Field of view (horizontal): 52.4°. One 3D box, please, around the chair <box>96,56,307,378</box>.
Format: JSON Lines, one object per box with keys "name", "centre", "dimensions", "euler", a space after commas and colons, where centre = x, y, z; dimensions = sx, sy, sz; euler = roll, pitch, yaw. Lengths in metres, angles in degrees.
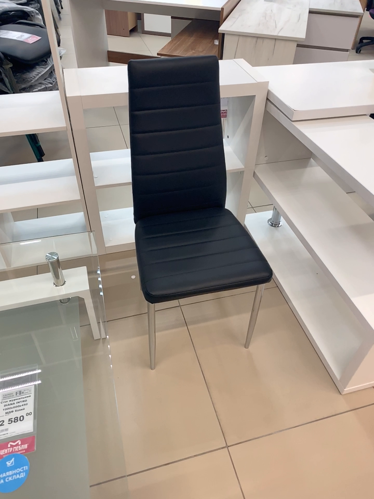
{"name": "chair", "centre": [-0.015, -0.097, 1.352], "dimensions": [0.440, 0.916, 0.603], "euler": [-8, 42, -10]}
